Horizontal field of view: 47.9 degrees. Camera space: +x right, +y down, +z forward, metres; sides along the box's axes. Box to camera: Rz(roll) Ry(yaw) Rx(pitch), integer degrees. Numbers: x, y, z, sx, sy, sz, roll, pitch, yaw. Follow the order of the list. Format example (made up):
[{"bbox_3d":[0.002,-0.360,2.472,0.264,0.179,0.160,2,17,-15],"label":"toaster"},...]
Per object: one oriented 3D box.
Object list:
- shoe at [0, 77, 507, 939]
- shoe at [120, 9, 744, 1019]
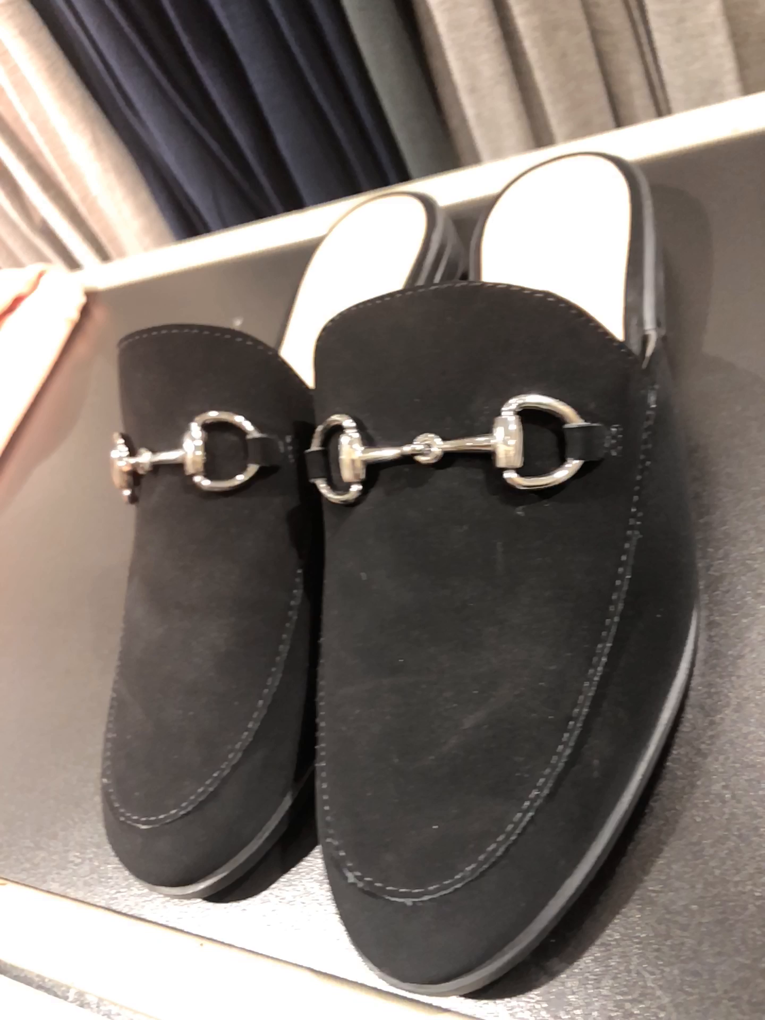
[{"bbox_3d":[-0.036,-0.006,0.255,0.090,0.080,0.221,-2,62,31],"label":"shoe"},{"bbox_3d":[0.033,-0.010,0.206,0.090,0.070,0.221,-5,55,30],"label":"shoe"}]
